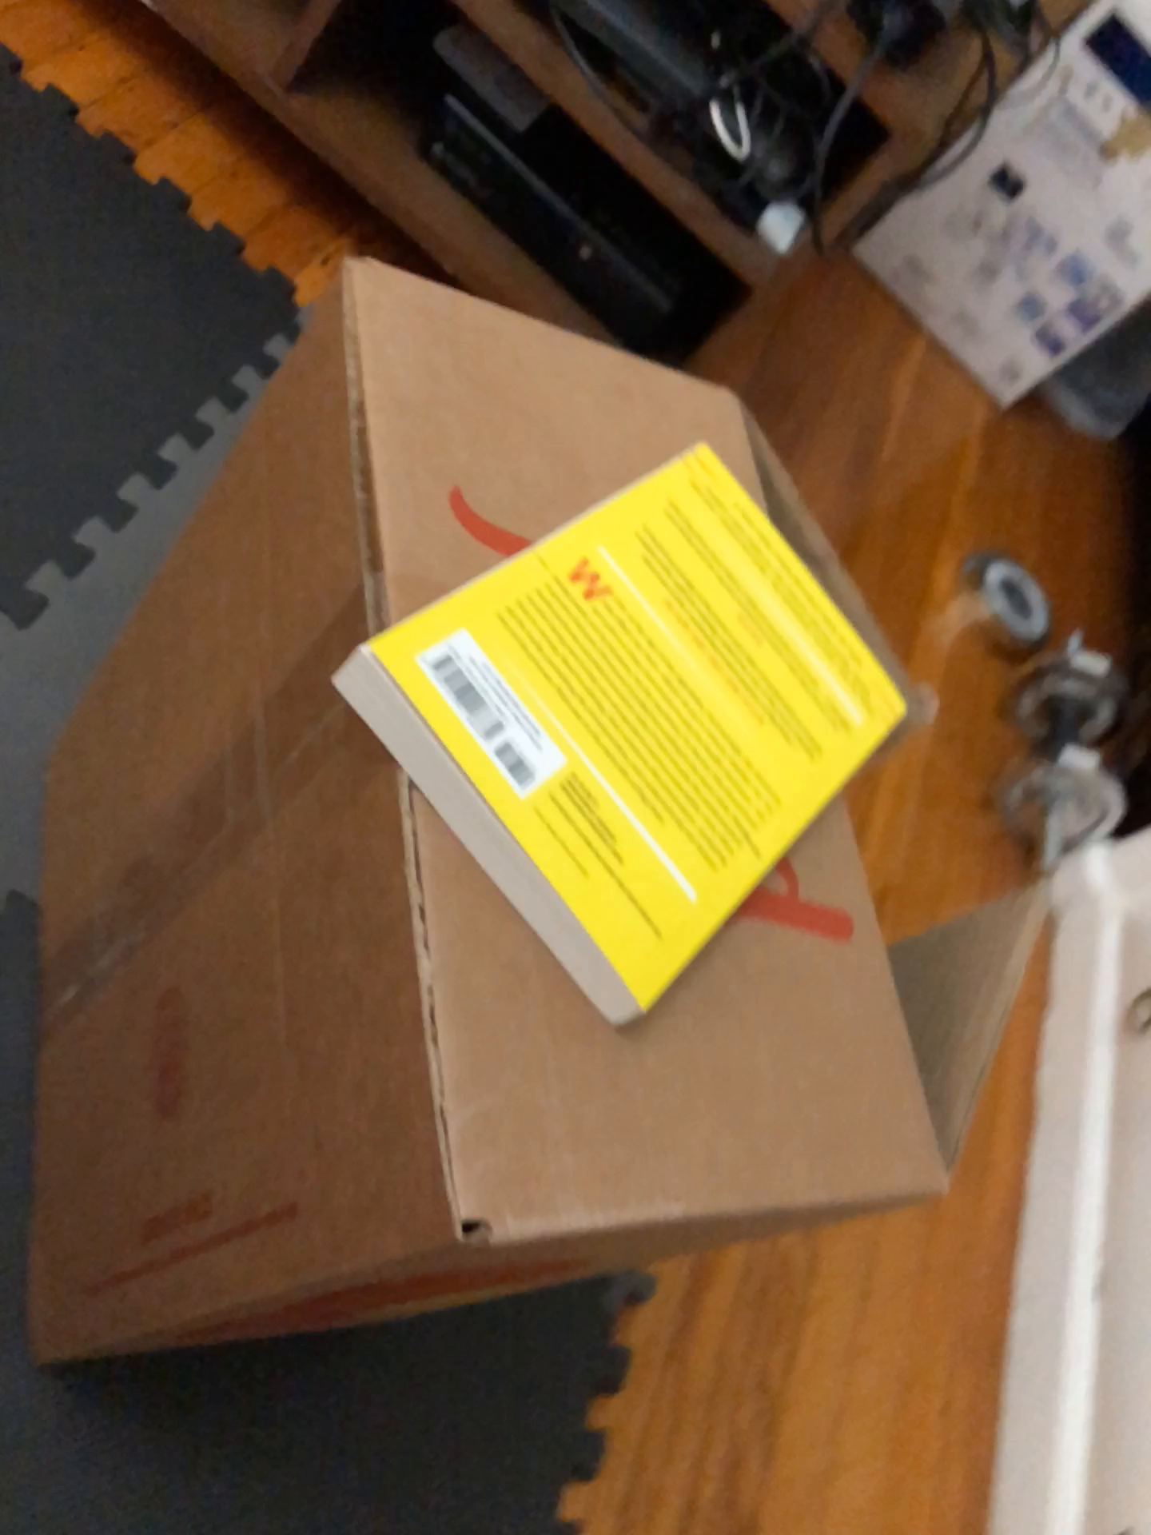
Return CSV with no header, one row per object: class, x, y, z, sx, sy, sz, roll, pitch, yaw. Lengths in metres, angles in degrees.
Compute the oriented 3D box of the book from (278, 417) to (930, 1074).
book,0.028,-0.025,0.440,0.150,0.020,0.221,51,46,-1
